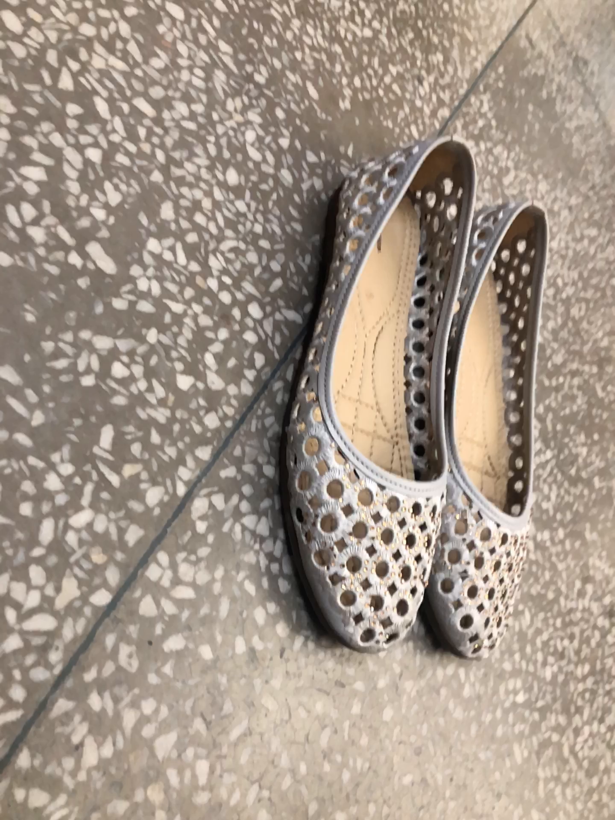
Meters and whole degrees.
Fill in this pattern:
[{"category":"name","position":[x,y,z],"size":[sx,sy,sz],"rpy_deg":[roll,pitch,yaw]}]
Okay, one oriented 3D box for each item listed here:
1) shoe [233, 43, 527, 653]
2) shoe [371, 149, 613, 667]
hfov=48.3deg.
[{"category":"shoe","position":[0.036,-0.022,0.305],"size":[0.093,0.070,0.240],"rpy_deg":[19,66,-40]},{"category":"shoe","position":[0.093,0.003,0.357],"size":[0.093,0.070,0.240],"rpy_deg":[19,66,-40]}]
